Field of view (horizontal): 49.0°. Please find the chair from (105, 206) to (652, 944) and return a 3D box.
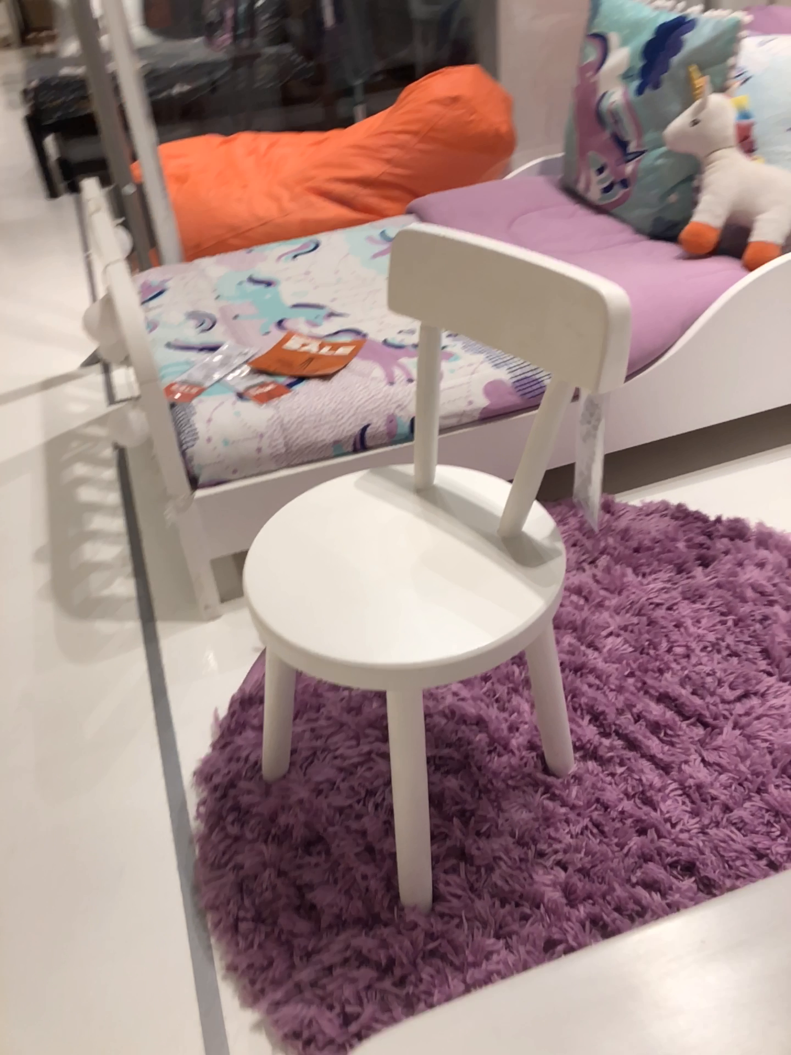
[{"bbox_3d":[0.004,0.038,0.861,0.311,0.576,0.321,-30,41,-31],"label":"chair"}]
